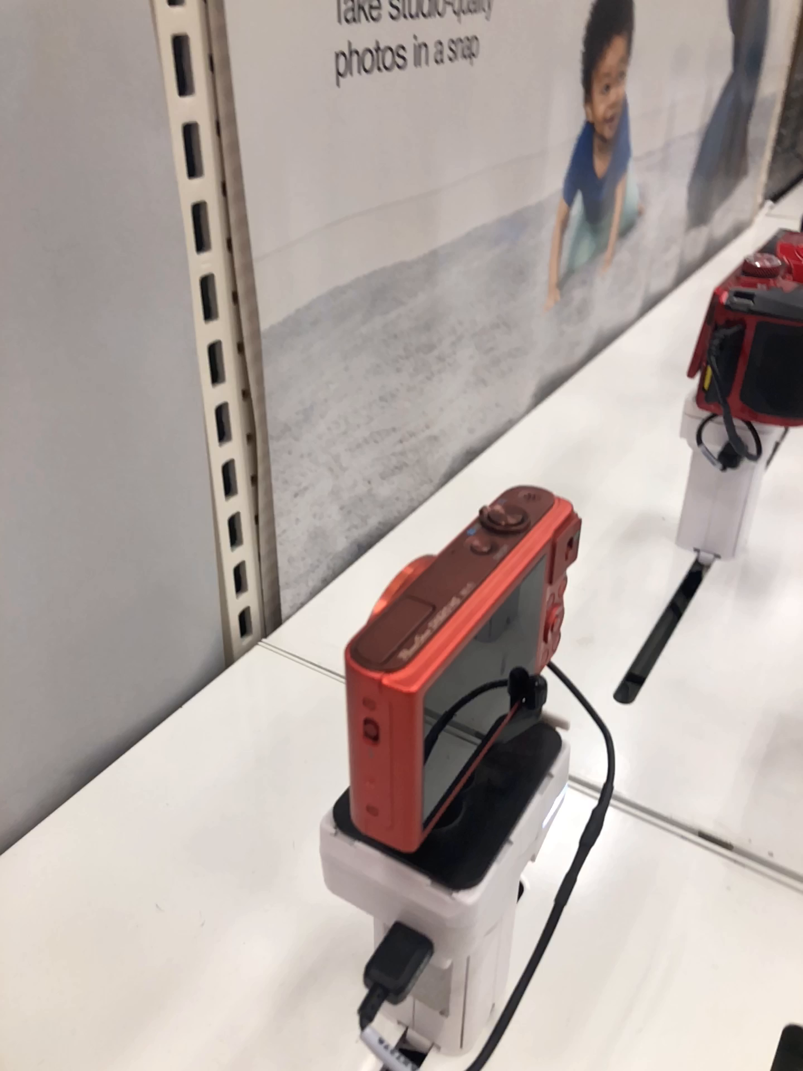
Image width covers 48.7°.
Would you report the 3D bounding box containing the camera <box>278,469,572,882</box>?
[{"bbox_3d":[0.012,0.033,0.257,0.030,0.060,0.110,17,36,25],"label":"camera"}]
